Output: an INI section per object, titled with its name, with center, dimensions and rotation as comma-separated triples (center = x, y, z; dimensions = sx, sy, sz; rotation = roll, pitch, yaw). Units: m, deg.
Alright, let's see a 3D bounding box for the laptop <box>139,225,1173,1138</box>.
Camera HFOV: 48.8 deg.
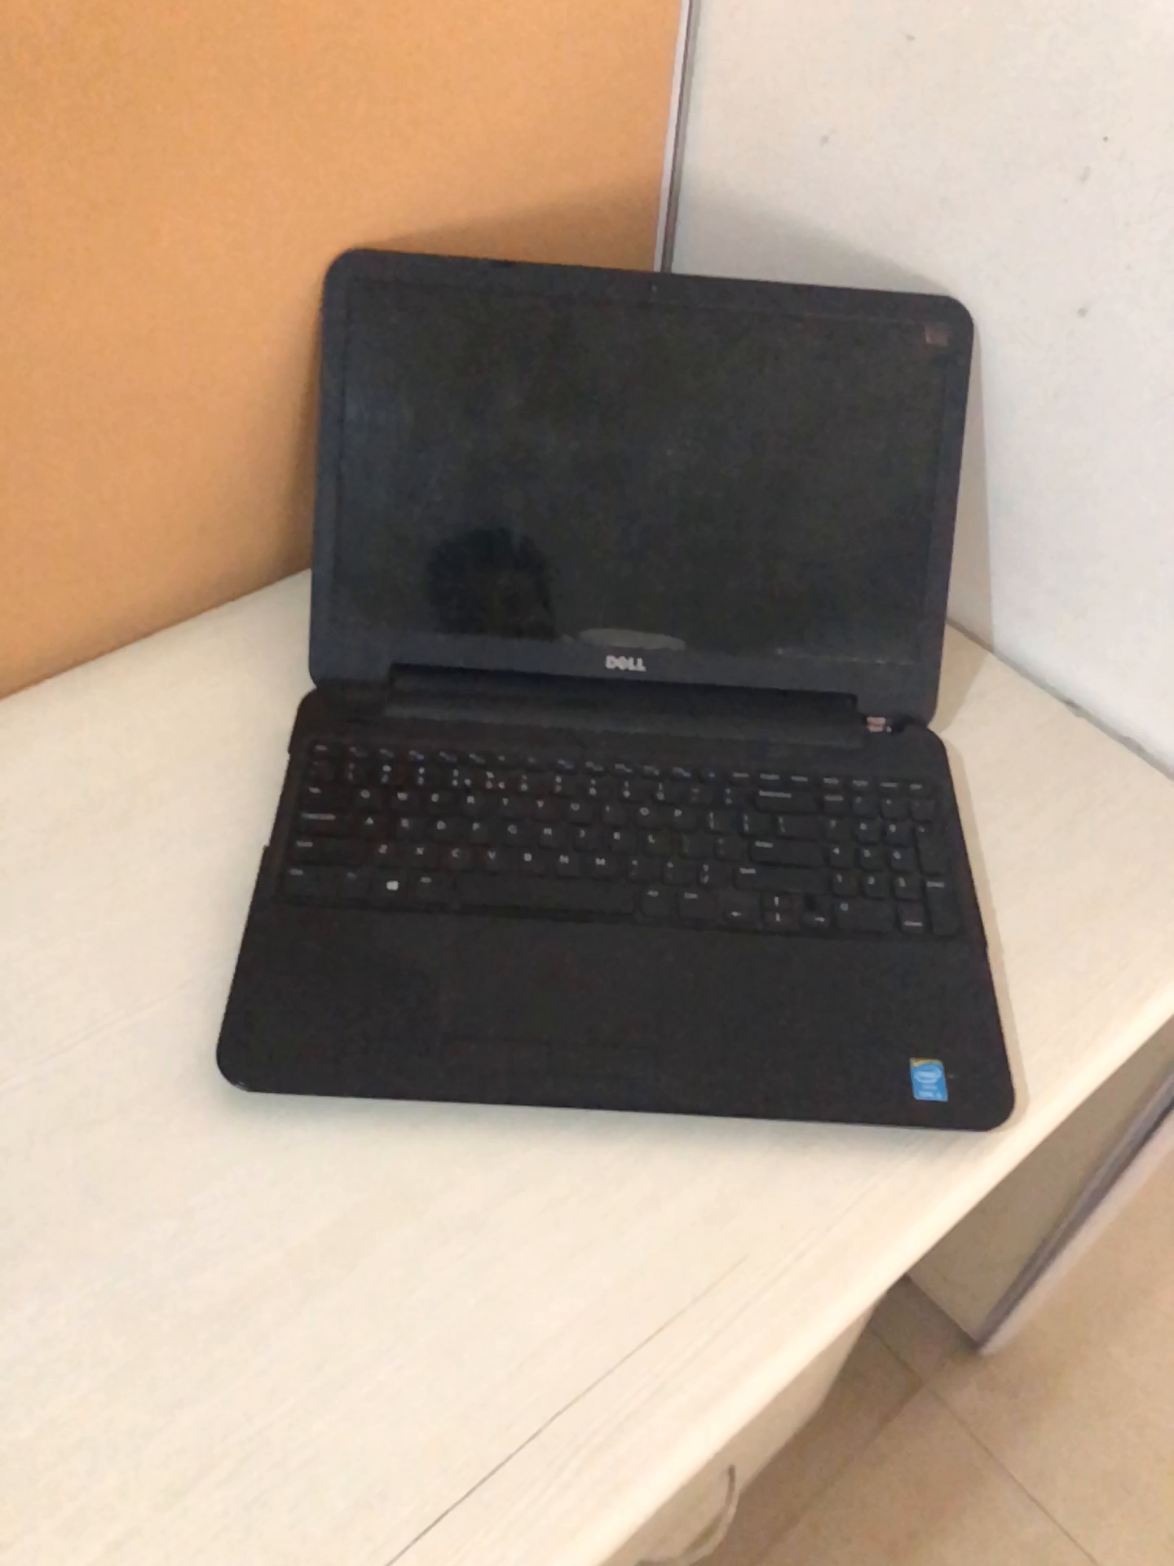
[laptop]
center = 0.026, -0.074, 0.635
dimensions = 0.352, 0.175, 0.415
rotation = 4, 49, -1
